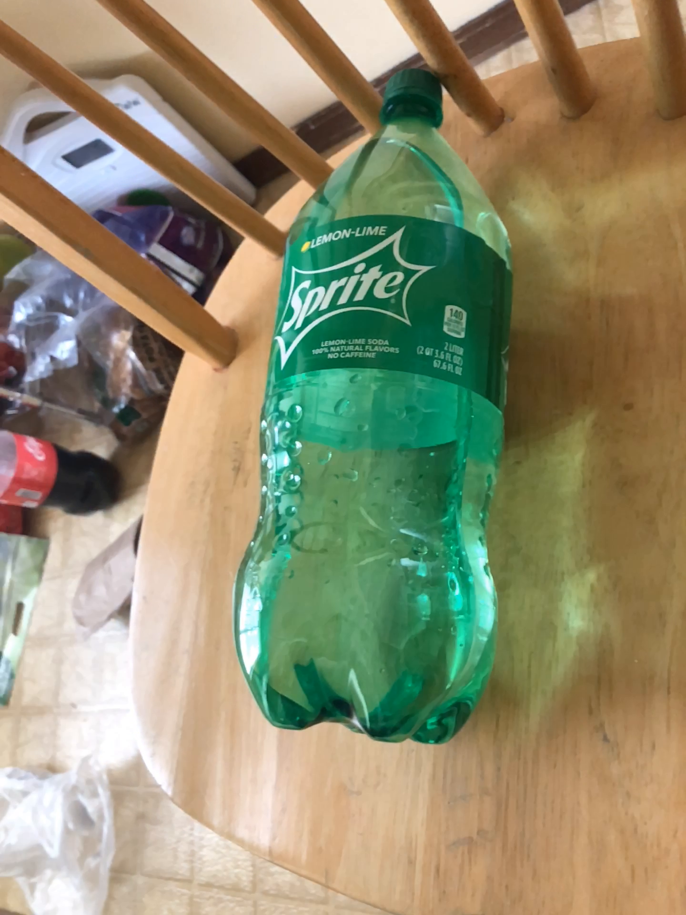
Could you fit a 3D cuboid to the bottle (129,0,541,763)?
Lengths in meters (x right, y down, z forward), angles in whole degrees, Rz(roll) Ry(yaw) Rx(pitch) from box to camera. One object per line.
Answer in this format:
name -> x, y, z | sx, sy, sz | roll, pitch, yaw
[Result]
bottle -> 0.014, -0.040, 0.321 | 0.110, 0.110, 0.300 | -4, 71, 27
